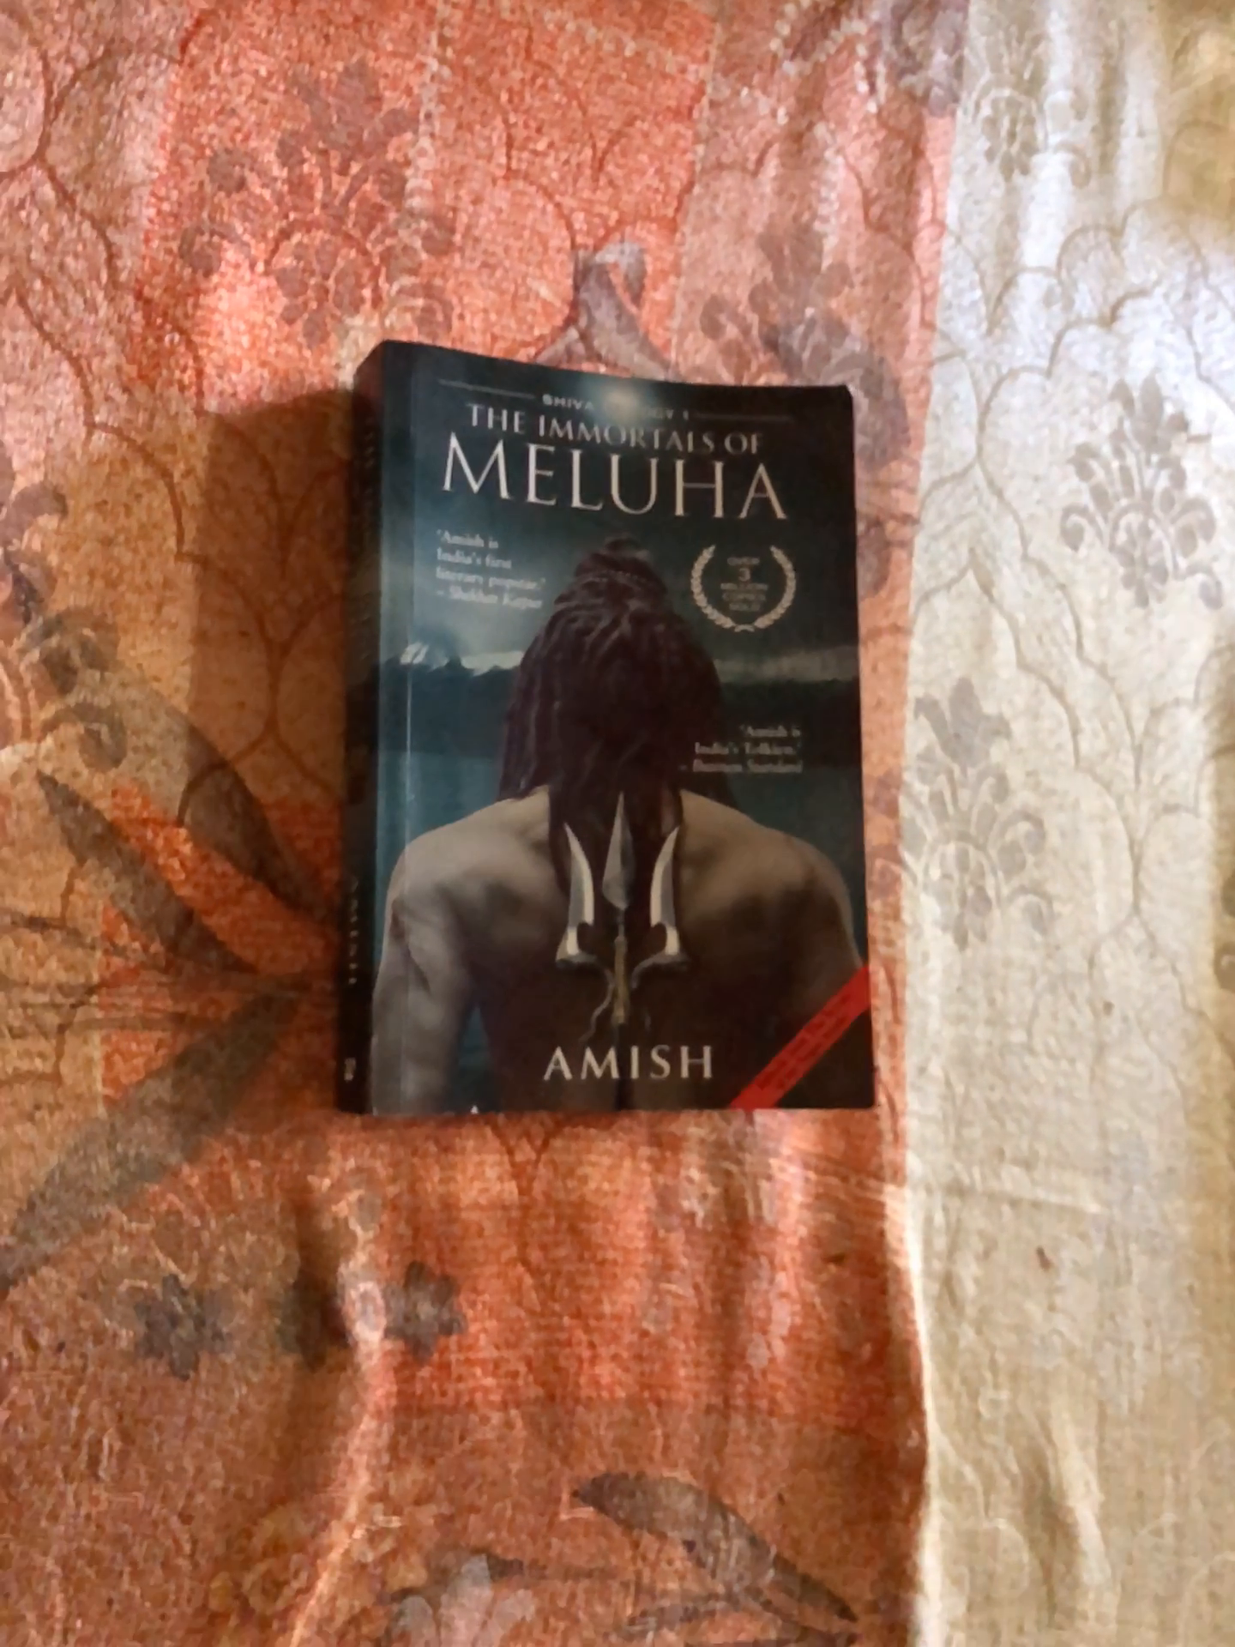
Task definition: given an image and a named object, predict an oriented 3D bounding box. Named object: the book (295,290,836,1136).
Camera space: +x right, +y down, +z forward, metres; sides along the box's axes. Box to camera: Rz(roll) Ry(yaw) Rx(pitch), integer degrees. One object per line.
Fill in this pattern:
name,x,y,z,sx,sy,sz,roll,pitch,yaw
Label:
book,-0.013,-0.024,0.363,0.131,0.040,0.200,3,81,-22
